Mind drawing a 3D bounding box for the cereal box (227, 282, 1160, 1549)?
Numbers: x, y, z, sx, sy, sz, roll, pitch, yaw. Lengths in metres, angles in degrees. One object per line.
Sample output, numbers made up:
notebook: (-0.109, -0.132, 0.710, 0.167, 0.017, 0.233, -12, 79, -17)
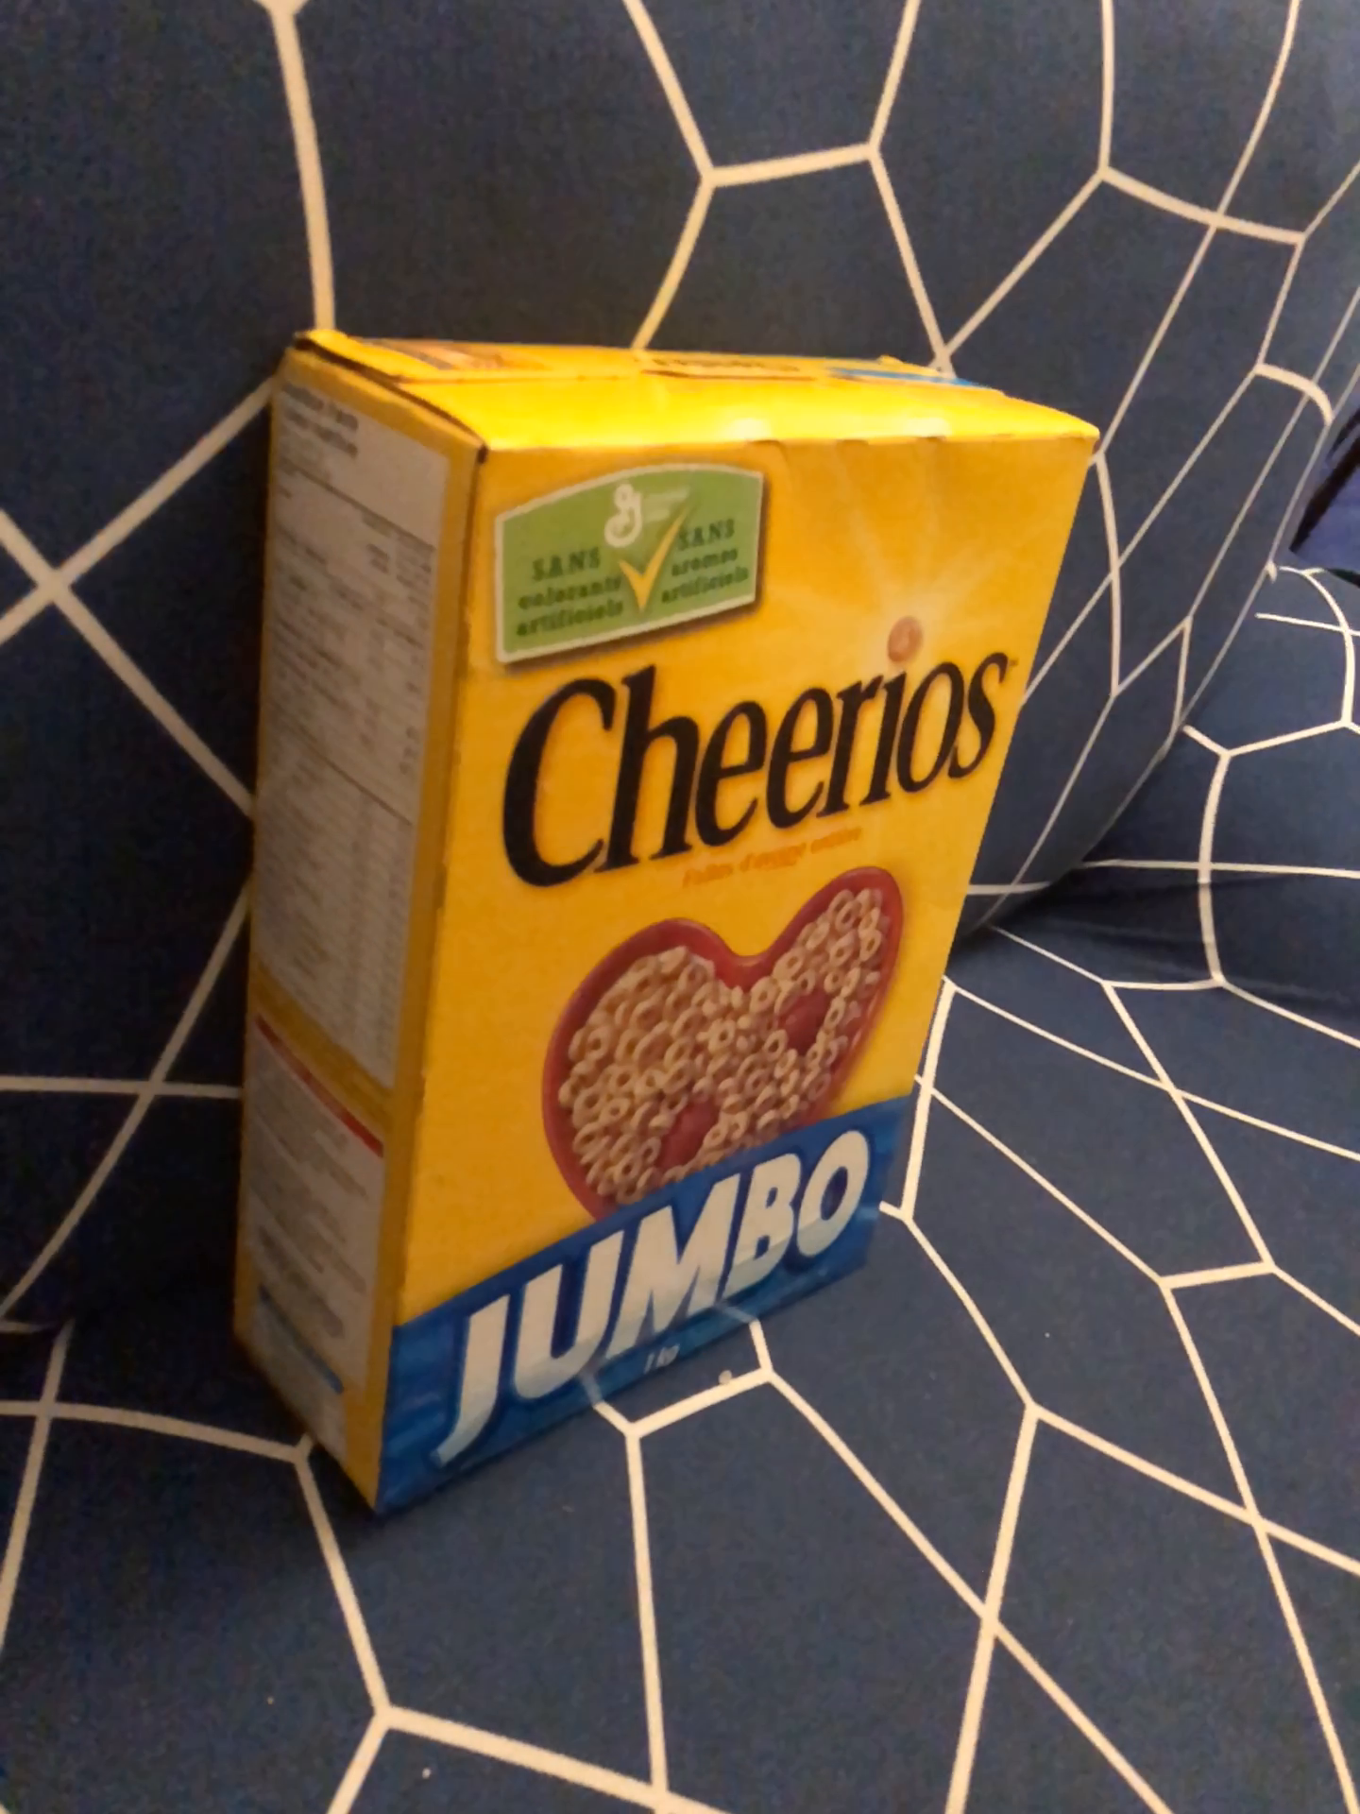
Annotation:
cereal box: (-0.003, -0.002, 0.406, 0.211, 0.288, 0.080, -16, 37, -41)
